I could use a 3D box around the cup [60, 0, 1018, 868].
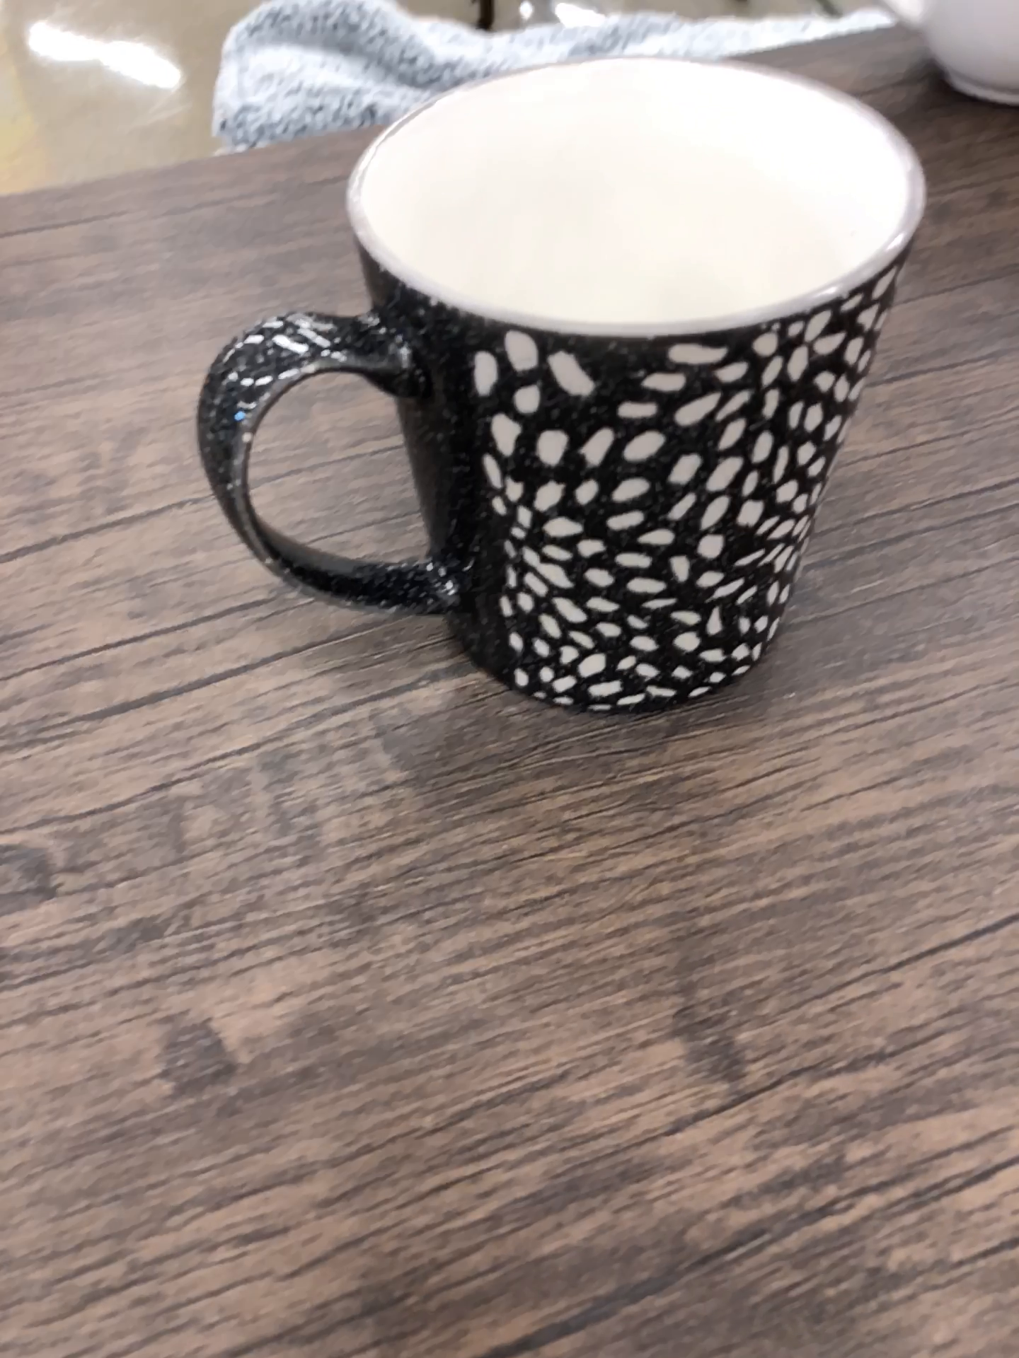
[{"bbox_3d":[0.010,-0.057,0.222,0.140,0.100,0.100,-23,52,-16],"label":"cup"}]
